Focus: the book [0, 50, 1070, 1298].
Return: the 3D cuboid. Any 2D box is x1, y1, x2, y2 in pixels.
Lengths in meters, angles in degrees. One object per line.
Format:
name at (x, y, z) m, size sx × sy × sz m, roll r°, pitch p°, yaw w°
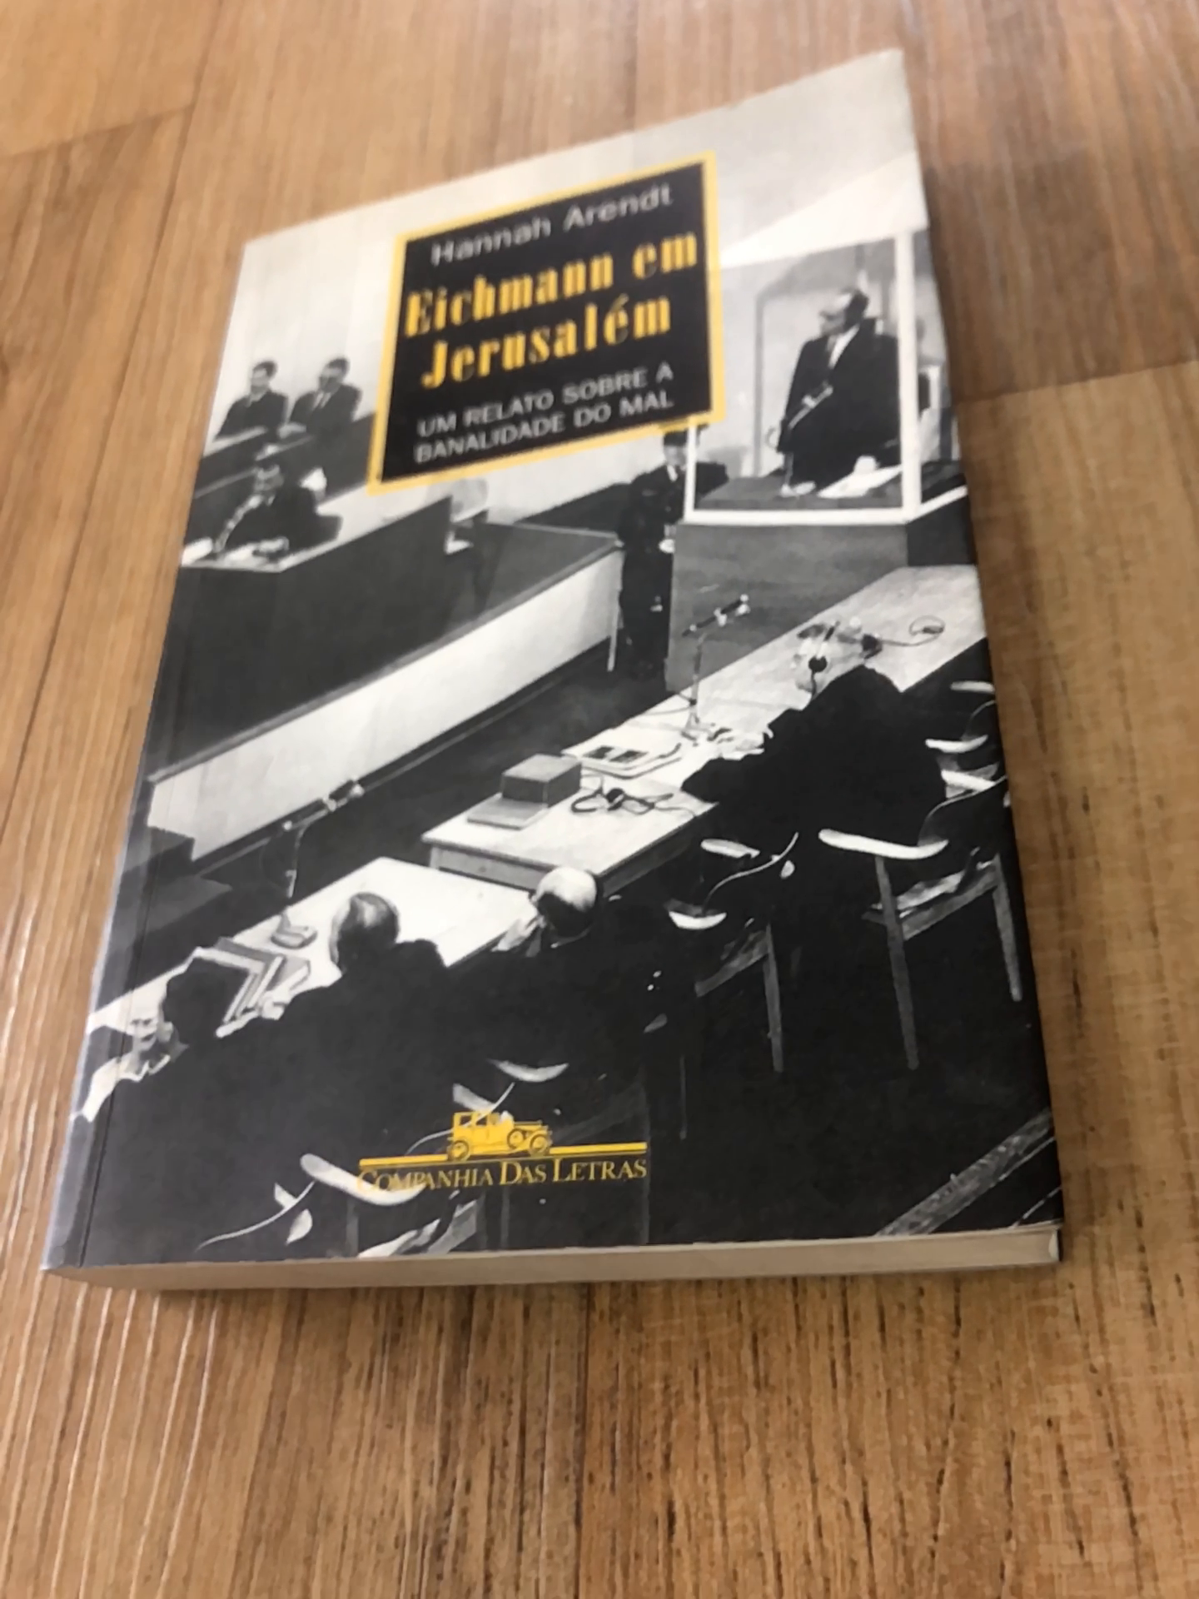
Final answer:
book at (-0.011, -0.027, 0.223) m, size 0.140 × 0.030 × 0.201 m, roll -7°, pitch 62°, yaw 15°
